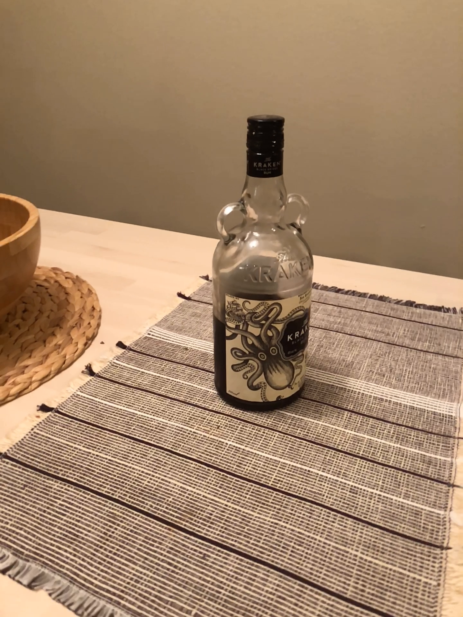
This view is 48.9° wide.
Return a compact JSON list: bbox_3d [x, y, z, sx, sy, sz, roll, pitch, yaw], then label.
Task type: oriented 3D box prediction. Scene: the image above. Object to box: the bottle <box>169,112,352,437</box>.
[{"bbox_3d":[0.021,-0.032,0.446,0.100,0.249,0.100,0,27,0],"label":"bottle"}]
